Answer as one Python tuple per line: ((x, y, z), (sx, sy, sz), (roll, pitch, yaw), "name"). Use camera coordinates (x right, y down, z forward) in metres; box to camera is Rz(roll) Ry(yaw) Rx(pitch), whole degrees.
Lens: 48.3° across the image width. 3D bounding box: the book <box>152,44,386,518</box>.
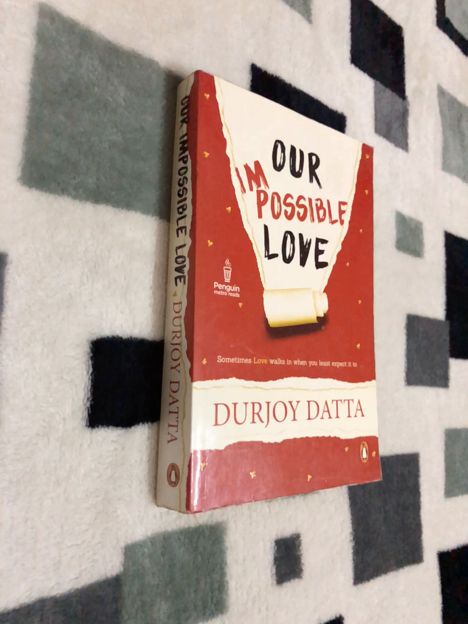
((0.027, -0.011, 0.271), (0.131, 0.030, 0.200), (7, 83, -40), "book")
